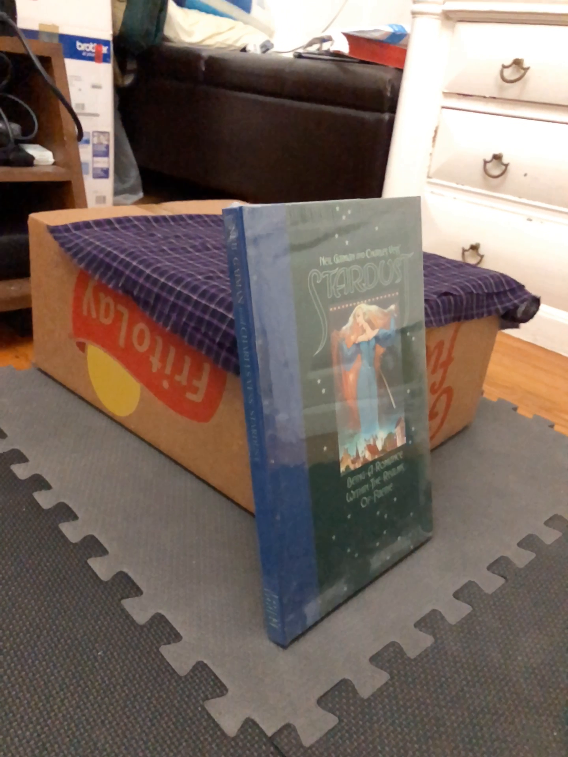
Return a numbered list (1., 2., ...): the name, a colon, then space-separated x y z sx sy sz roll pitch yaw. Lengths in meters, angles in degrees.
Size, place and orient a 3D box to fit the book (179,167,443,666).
1. book: 0.042 0.012 0.490 0.050 0.329 0.221 8 20 43
